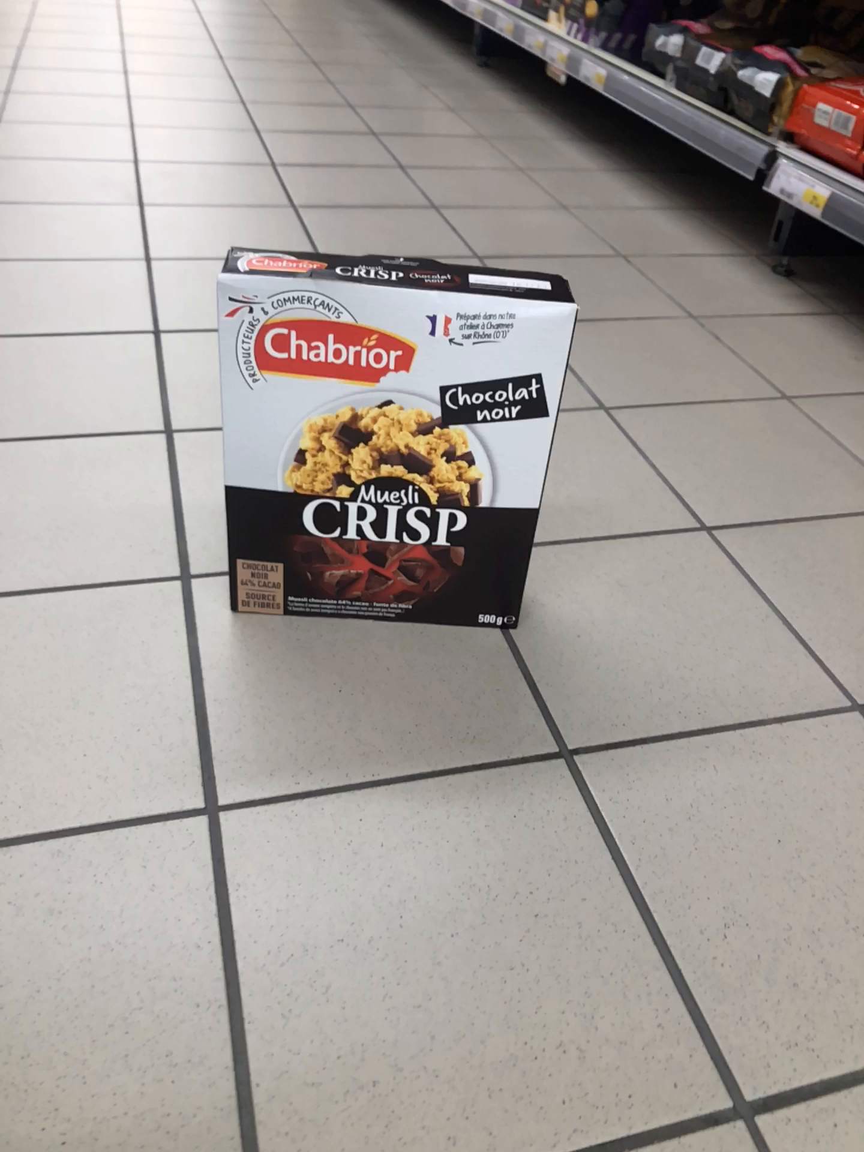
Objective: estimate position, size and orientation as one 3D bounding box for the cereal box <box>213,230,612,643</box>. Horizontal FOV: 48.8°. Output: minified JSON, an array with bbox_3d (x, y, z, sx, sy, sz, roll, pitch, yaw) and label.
[{"bbox_3d":[-0.018,-0.072,0.568,0.200,0.229,0.060,4,37,-4],"label":"cereal box"}]
